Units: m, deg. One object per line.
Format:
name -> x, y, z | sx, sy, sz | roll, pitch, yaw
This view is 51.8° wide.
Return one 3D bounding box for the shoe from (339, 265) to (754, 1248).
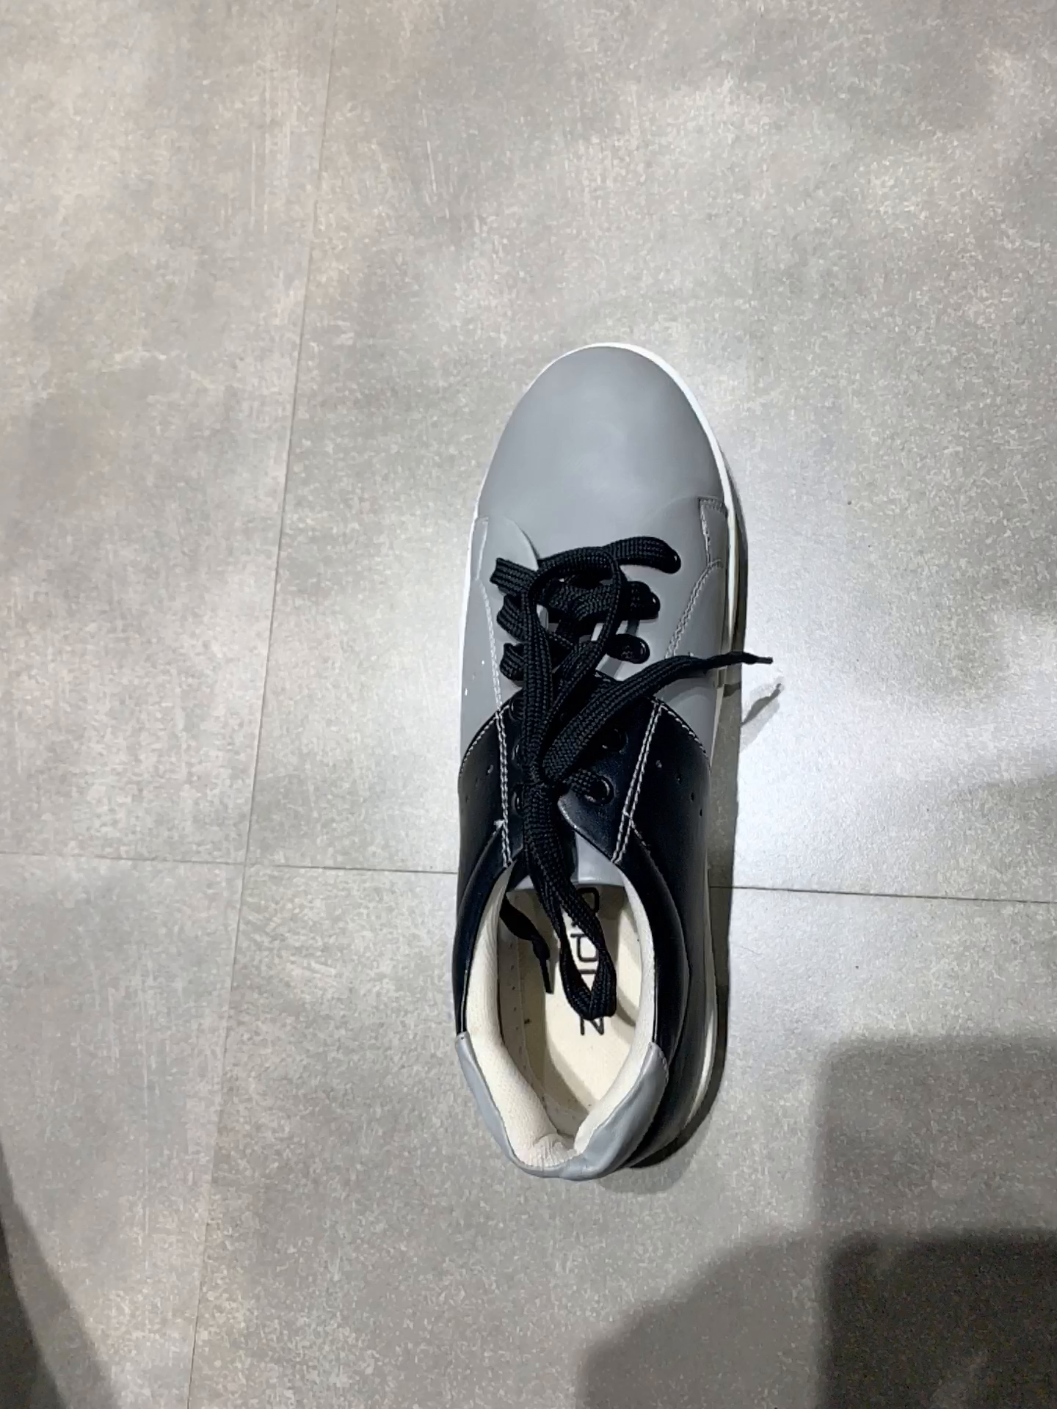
shoe -> 0.015, 0.012, 0.344 | 0.101, 0.093, 0.263 | -1, 77, 15
